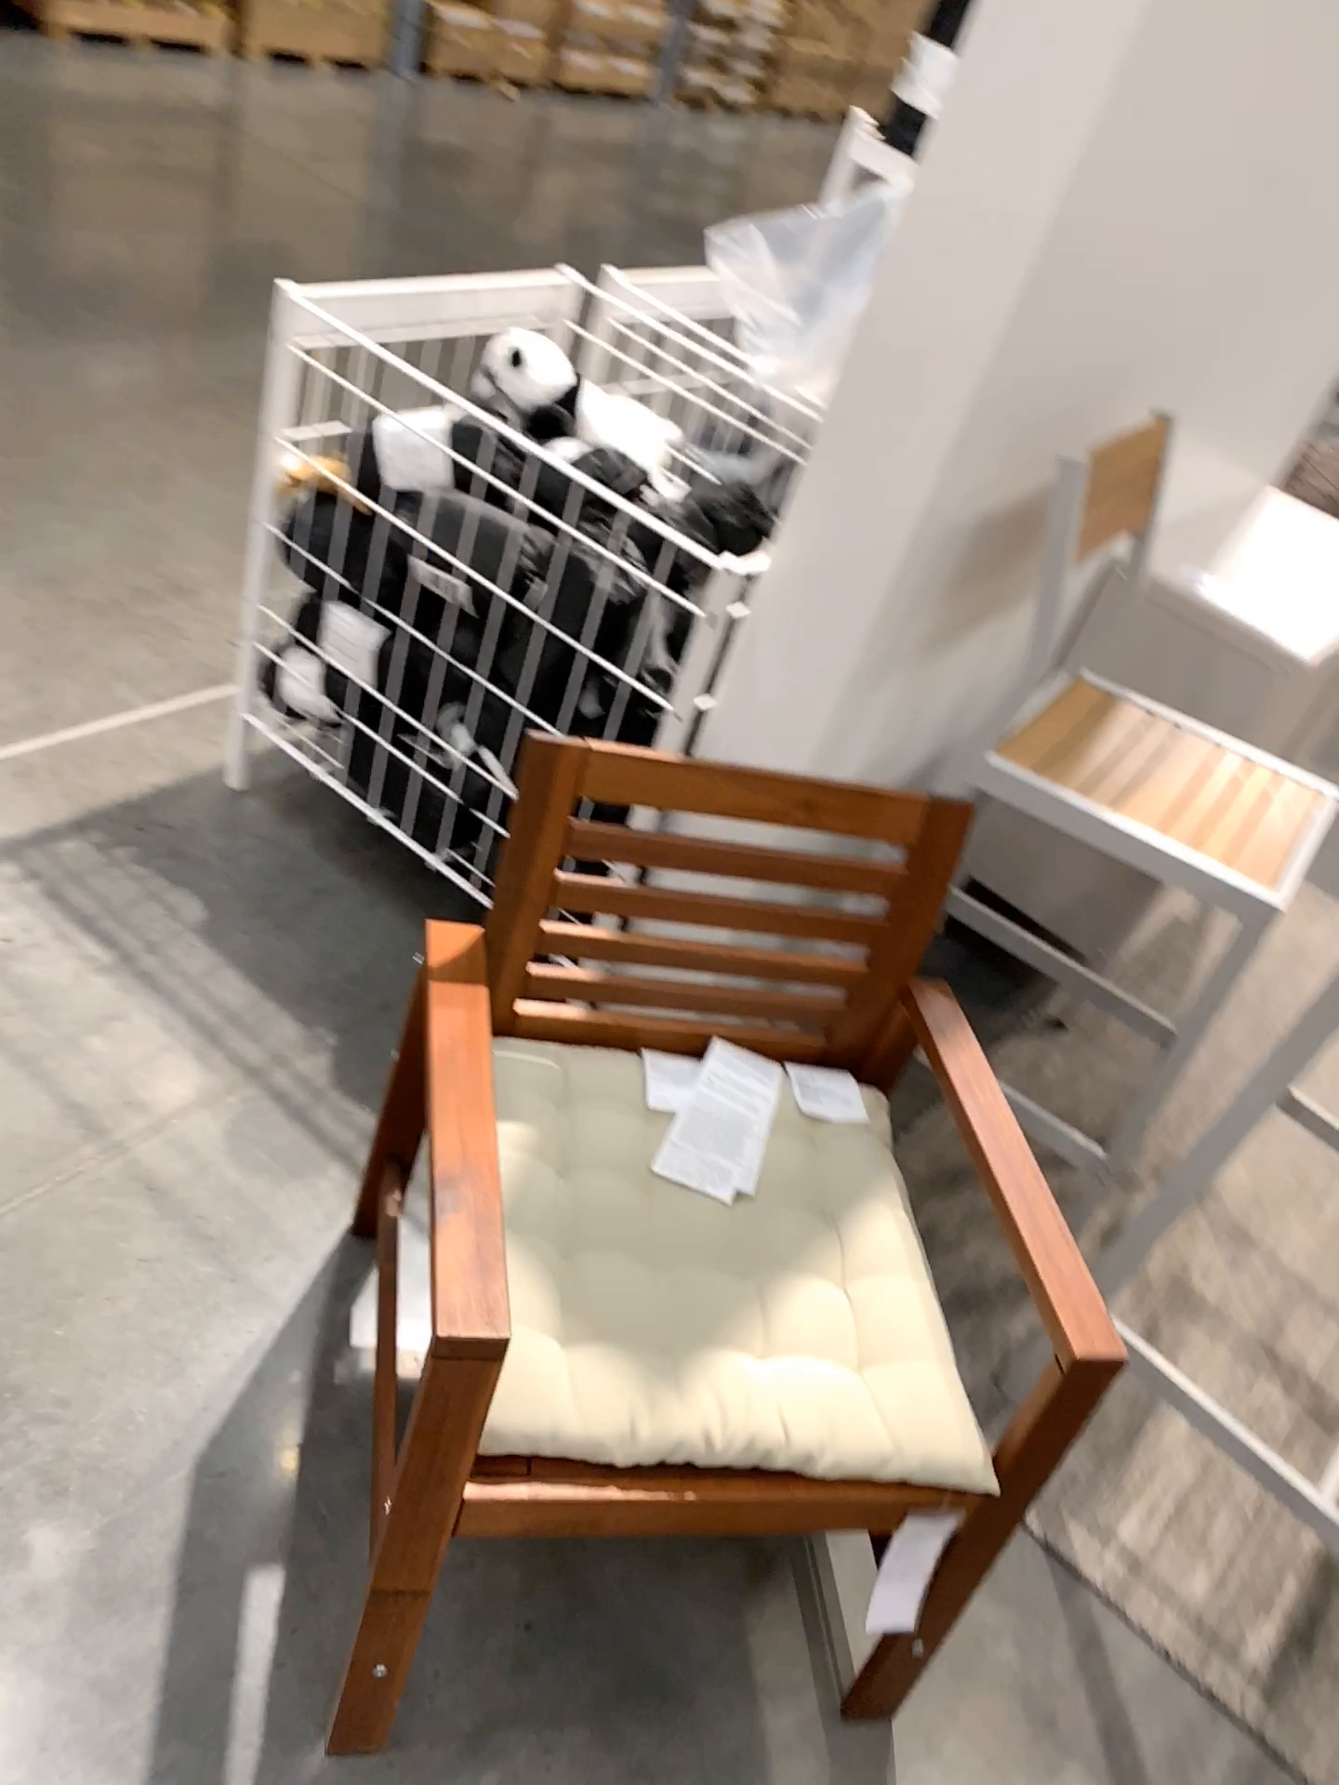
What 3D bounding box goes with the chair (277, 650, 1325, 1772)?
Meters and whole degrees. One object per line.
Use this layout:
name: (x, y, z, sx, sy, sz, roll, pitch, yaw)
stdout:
chair: (0.002, 0.305, 1.358, 0.650, 0.706, 0.723, 6, 40, -18)
